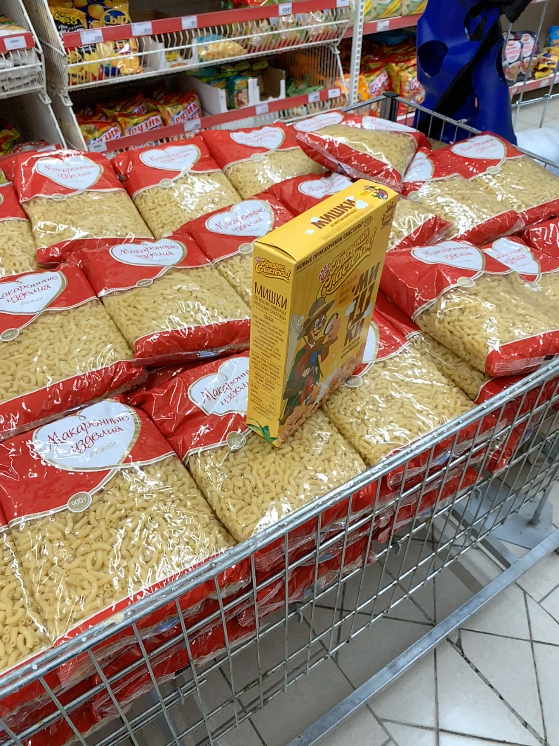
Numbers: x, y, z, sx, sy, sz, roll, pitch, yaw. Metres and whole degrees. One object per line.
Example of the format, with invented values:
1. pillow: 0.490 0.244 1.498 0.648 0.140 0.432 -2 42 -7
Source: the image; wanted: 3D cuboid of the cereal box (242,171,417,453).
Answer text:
1. cereal box: 0.042 -0.055 0.550 0.050 0.218 0.171 31 49 23
